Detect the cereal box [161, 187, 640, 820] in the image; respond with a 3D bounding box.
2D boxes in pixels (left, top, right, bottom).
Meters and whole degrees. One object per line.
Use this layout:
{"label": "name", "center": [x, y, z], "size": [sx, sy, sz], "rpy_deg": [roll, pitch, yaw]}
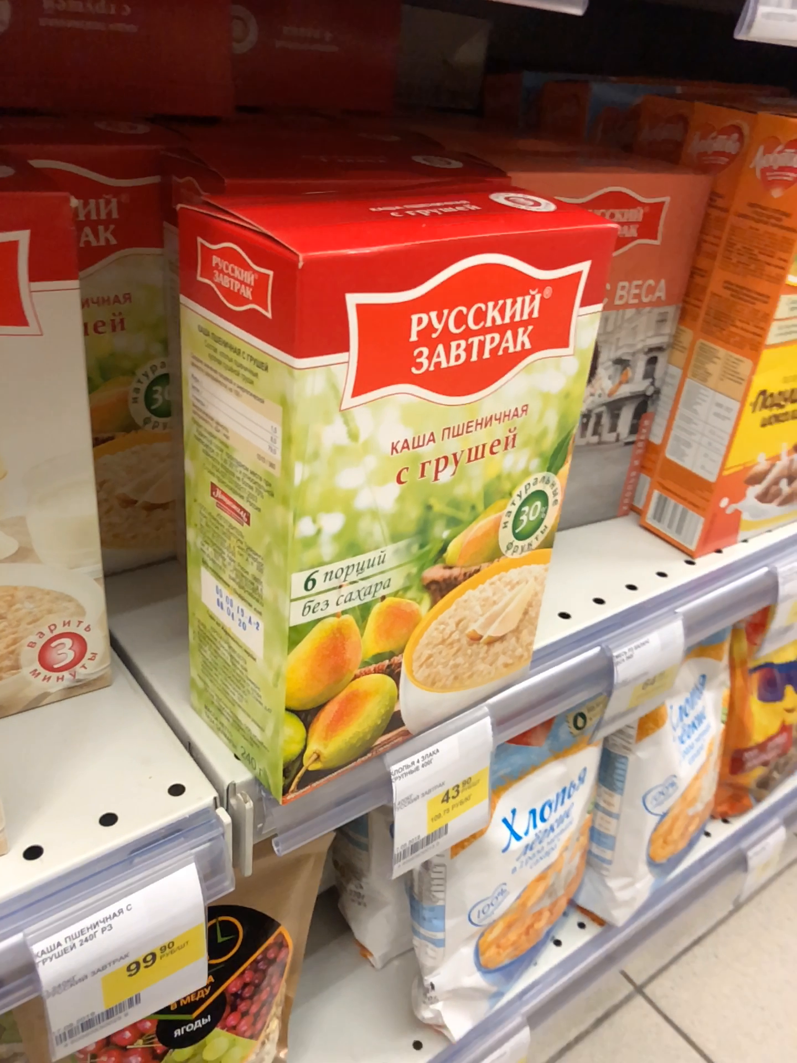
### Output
{"label": "cereal box", "center": [-0.002, -0.015, 0.314], "size": [0.140, 0.189, 0.060], "rpy_deg": [-19, 38, -36]}
